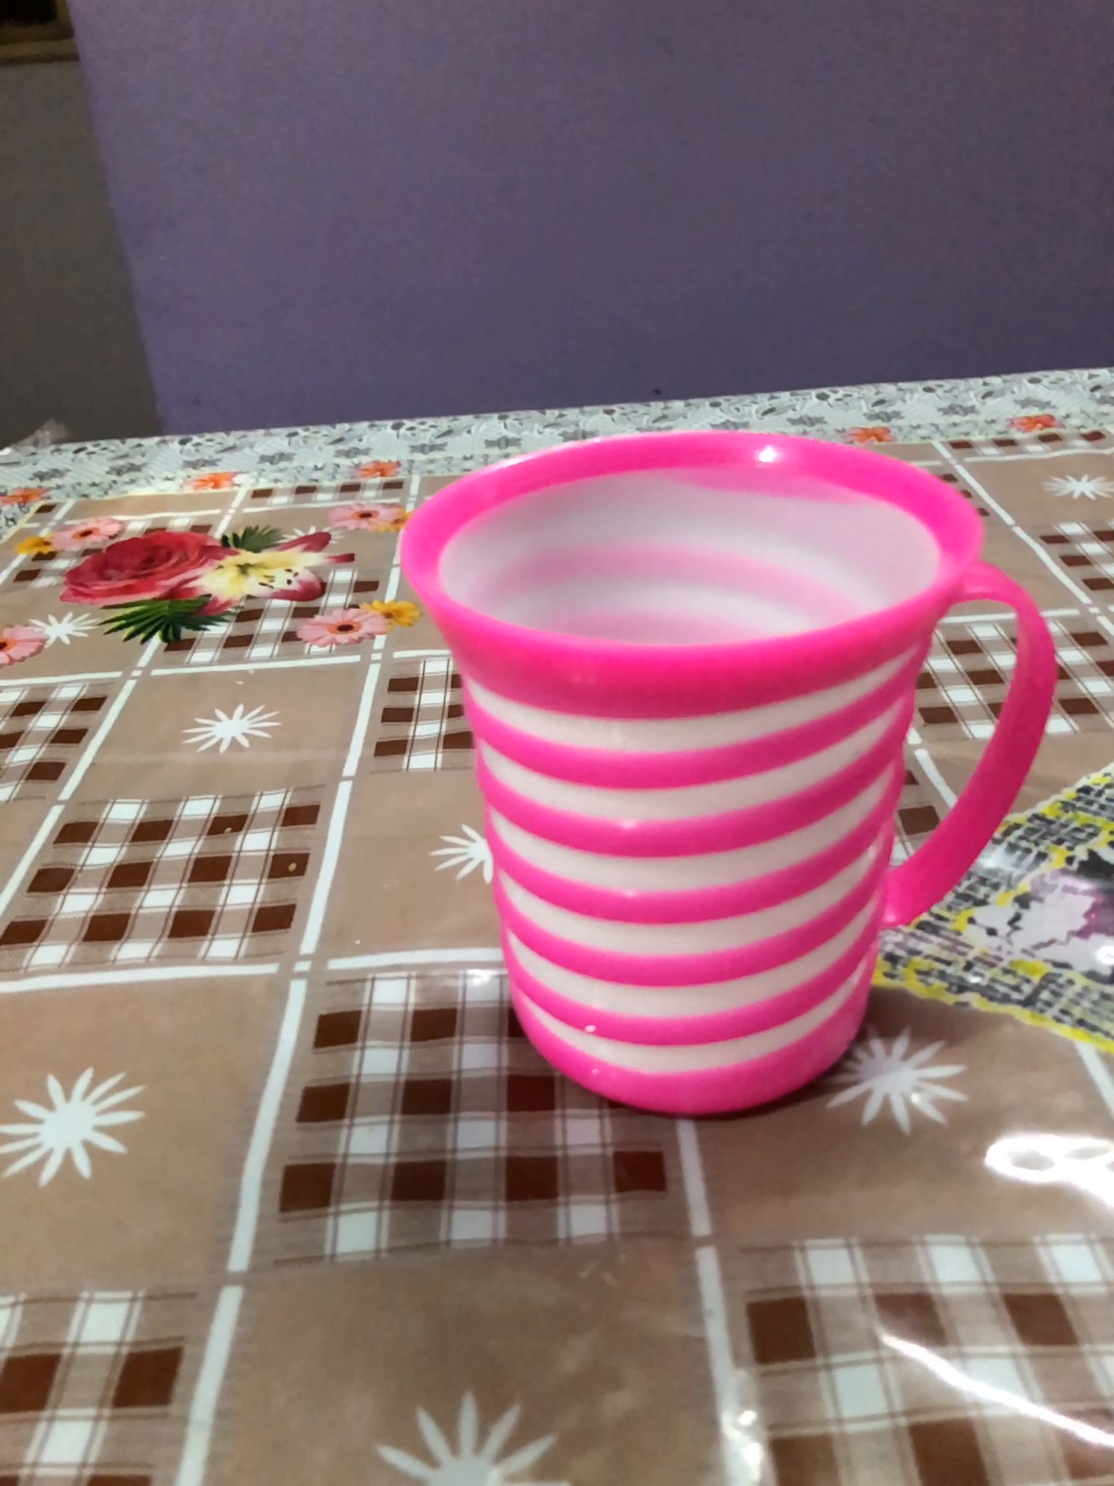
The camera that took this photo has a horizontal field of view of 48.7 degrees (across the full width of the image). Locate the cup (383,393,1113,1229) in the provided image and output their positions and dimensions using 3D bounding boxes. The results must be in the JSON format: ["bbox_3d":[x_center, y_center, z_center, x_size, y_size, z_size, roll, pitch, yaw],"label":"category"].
[{"bbox_3d":[0.037,0.004,0.202,0.110,0.089,0.080,-10,31,-11],"label":"cup"}]
